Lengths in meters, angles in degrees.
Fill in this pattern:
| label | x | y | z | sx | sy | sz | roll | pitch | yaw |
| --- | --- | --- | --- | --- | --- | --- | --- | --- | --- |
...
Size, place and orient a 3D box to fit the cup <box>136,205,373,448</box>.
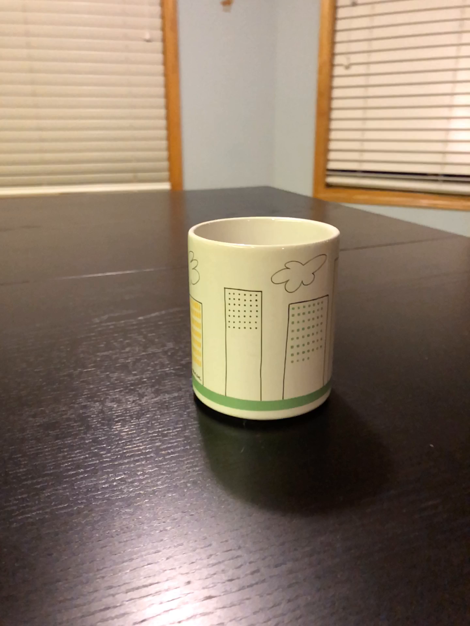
| label | x | y | z | sx | sy | sz | roll | pitch | yaw |
| --- | --- | --- | --- | --- | --- | --- | --- | --- | --- |
| cup | 0.003 | -0.005 | 0.323 | 0.090 | 0.100 | 0.130 | -9 | 21 | -23 |
